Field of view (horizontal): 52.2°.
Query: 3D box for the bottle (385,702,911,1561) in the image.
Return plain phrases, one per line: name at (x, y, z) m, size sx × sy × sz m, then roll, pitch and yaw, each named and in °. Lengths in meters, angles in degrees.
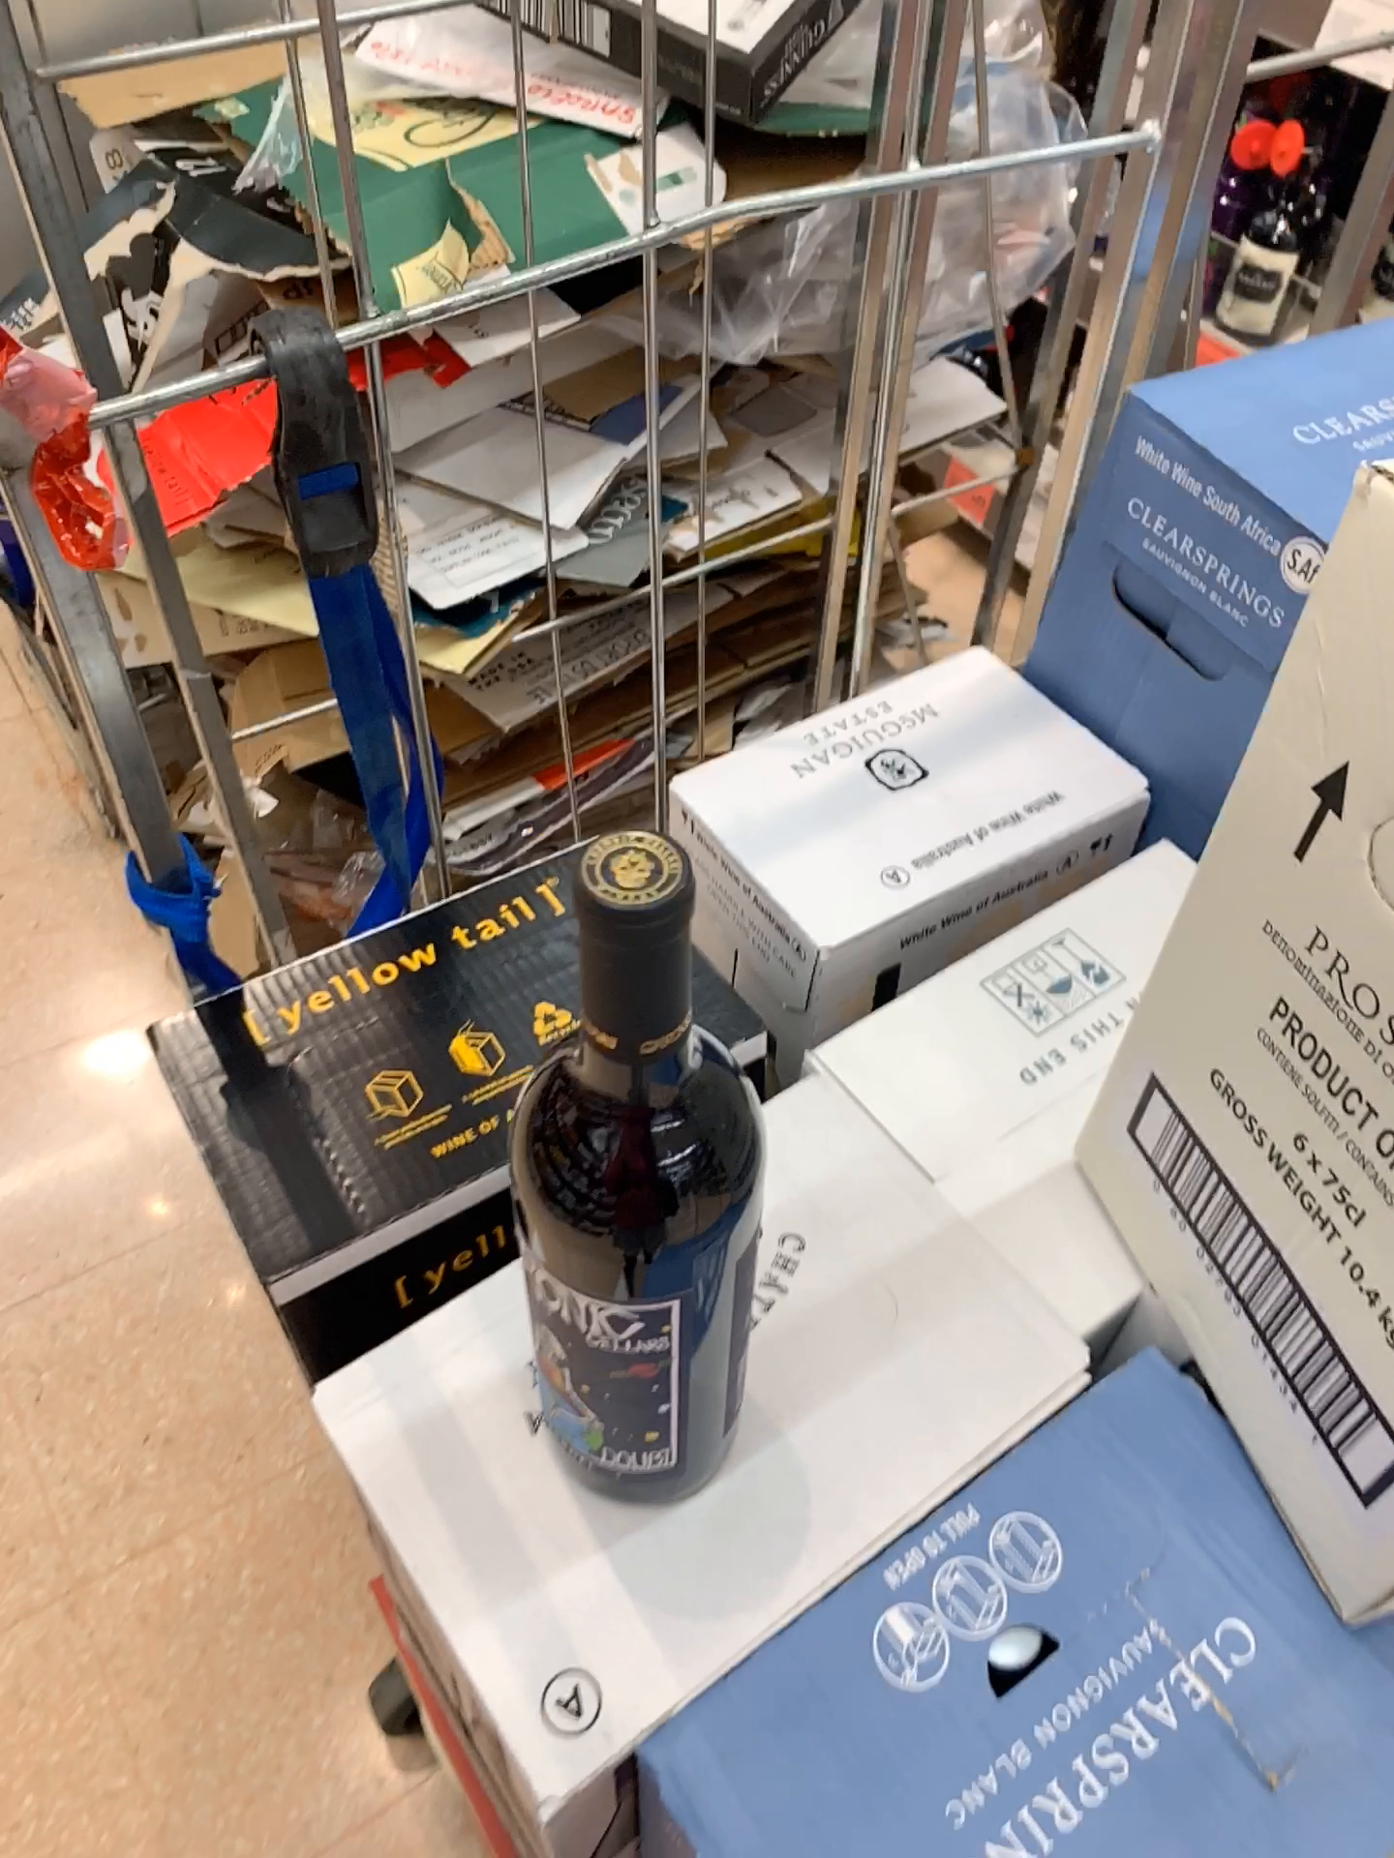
bottle at (-0.018, 0.081, 0.430) m, size 0.085 × 0.284 × 0.086 m, roll 2°, pitch 48°, yaw -2°
